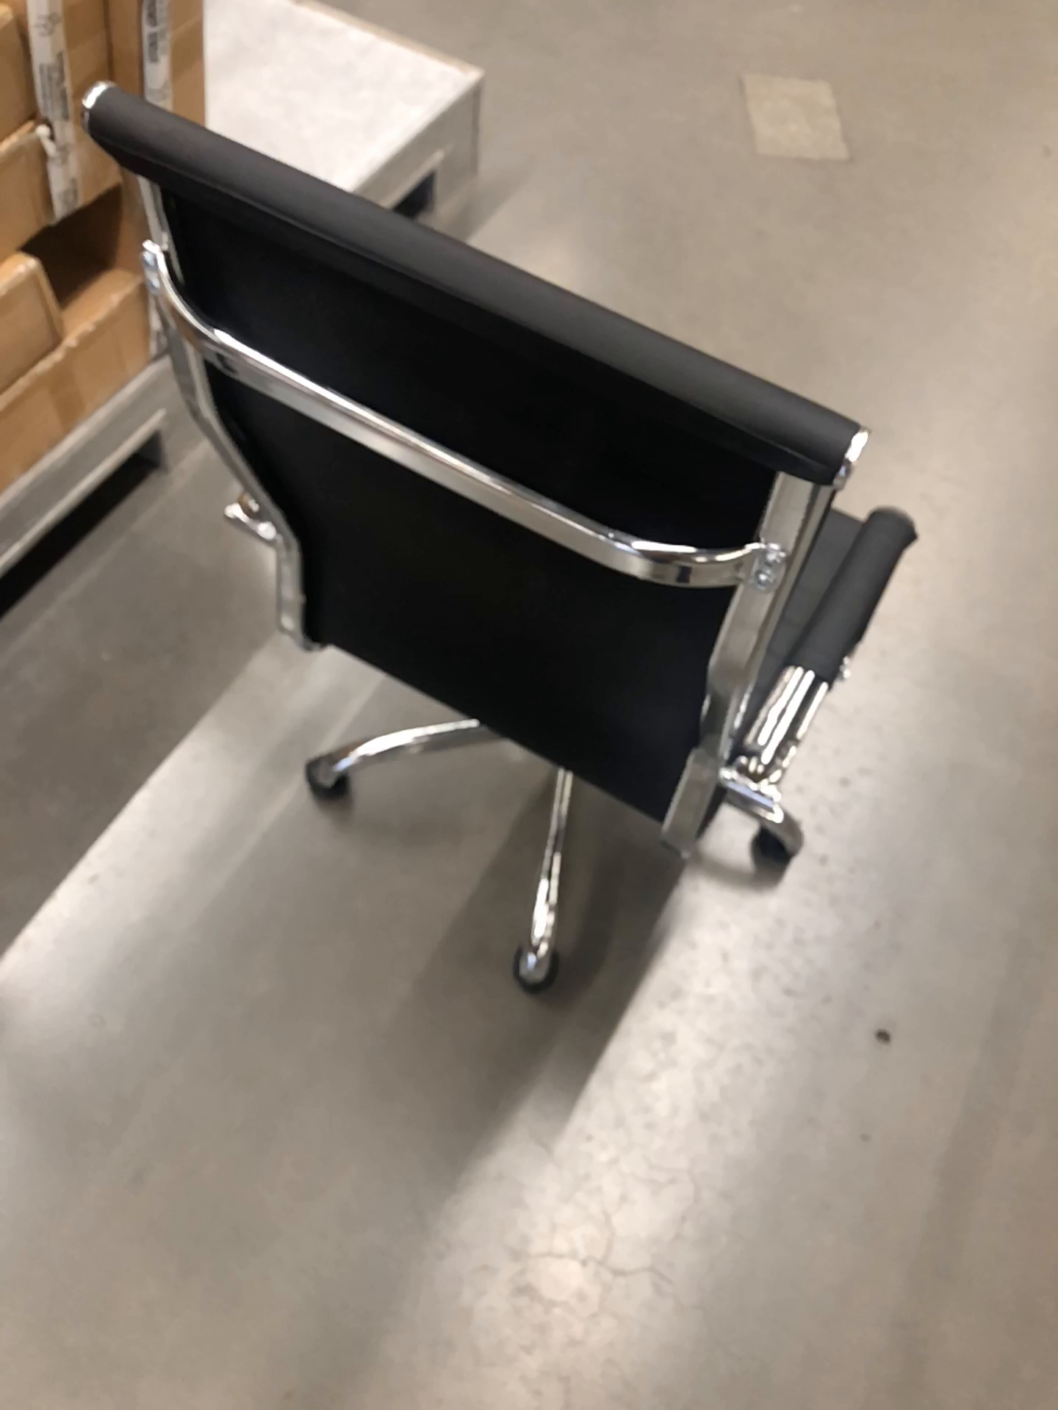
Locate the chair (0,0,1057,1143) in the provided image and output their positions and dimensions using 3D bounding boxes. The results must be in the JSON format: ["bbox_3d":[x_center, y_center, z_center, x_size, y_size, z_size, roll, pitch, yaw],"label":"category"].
[{"bbox_3d":[0.068,-0.193,1.200,0.670,1.095,0.743,27,60,15],"label":"chair"}]
